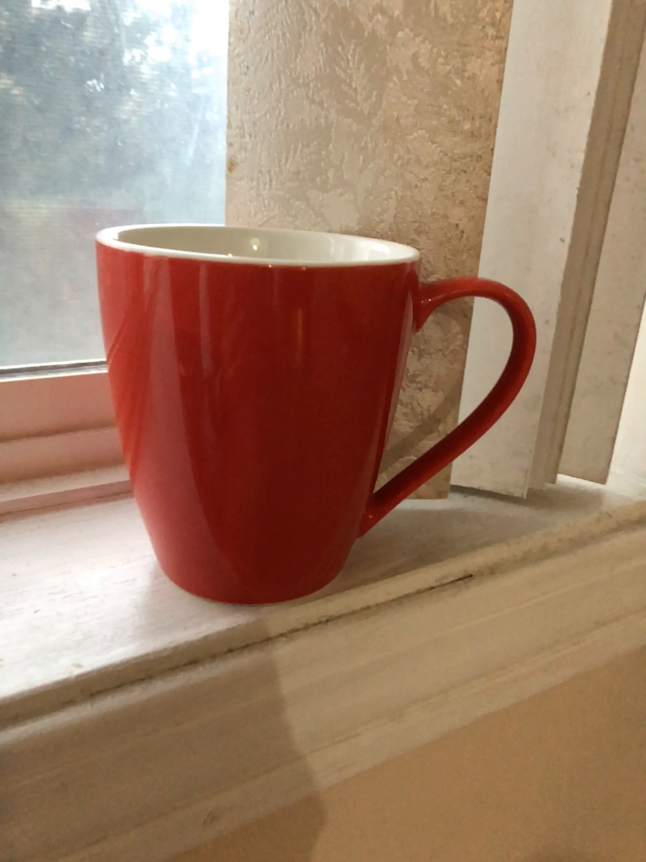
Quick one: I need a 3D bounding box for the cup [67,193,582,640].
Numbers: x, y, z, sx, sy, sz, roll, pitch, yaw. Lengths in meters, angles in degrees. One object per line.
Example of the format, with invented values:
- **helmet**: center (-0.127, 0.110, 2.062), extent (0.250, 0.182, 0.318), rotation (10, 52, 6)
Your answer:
- **cup**: center (-0.007, -0.014, 0.200), extent (0.110, 0.090, 0.080), rotation (-4, 21, -22)
